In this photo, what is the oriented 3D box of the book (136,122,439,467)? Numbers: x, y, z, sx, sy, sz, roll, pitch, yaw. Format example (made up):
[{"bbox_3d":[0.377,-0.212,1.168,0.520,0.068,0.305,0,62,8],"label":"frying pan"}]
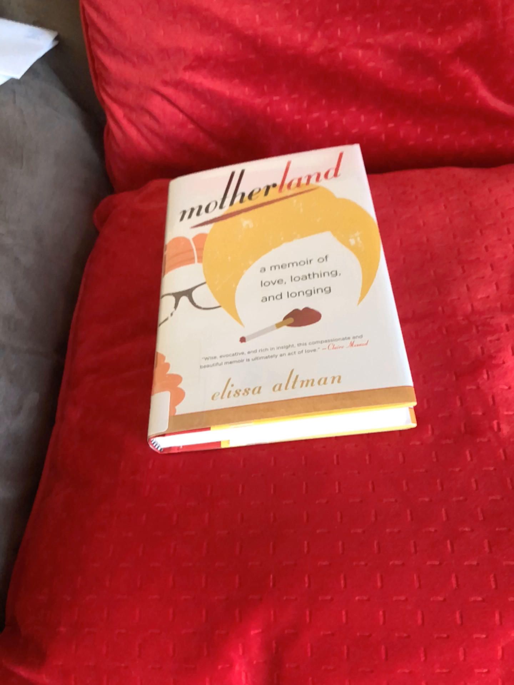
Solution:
[{"bbox_3d":[0.011,-0.039,0.339,0.140,0.040,0.210,-7,55,6],"label":"book"}]
